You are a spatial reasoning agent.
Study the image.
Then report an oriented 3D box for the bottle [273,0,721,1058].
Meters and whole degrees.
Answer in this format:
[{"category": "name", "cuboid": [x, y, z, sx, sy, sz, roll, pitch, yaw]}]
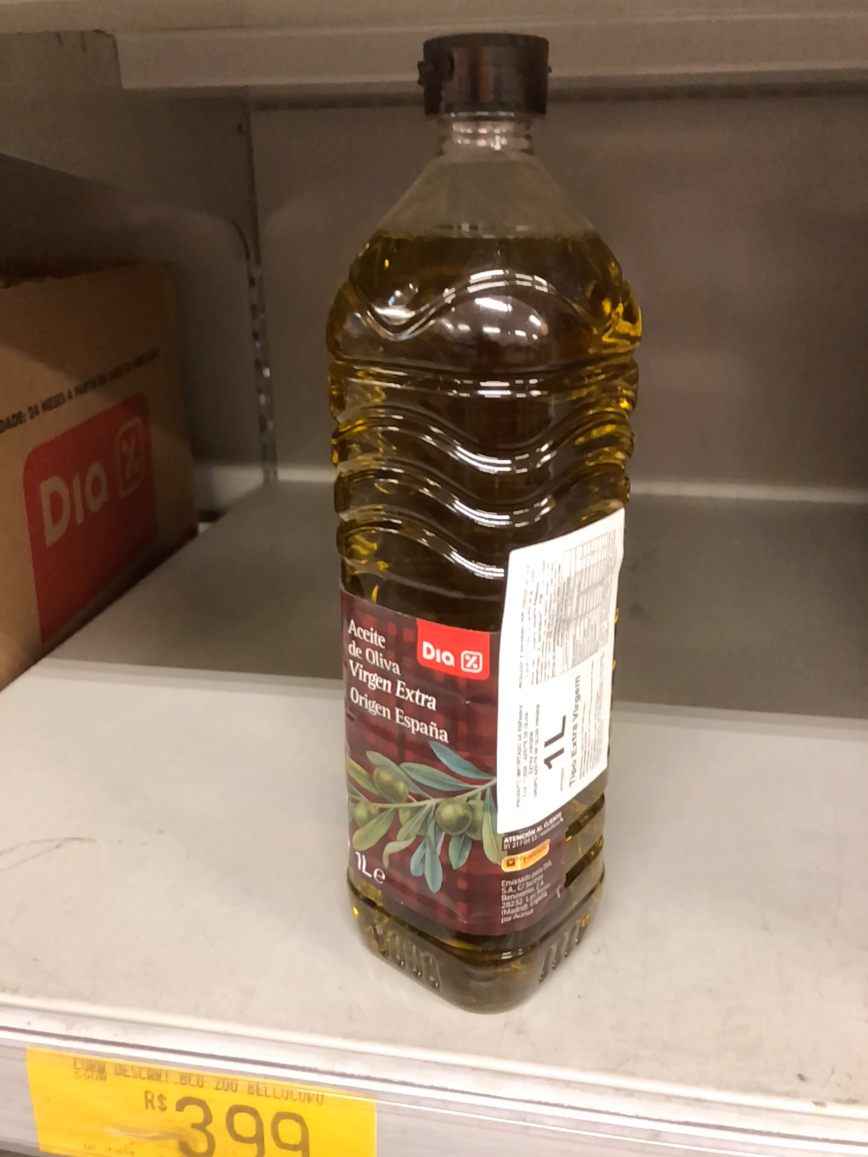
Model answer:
[{"category": "bottle", "cuboid": [0.014, -0.008, 0.280, 0.080, 0.278, 0.070, 16, 27, 34]}]
